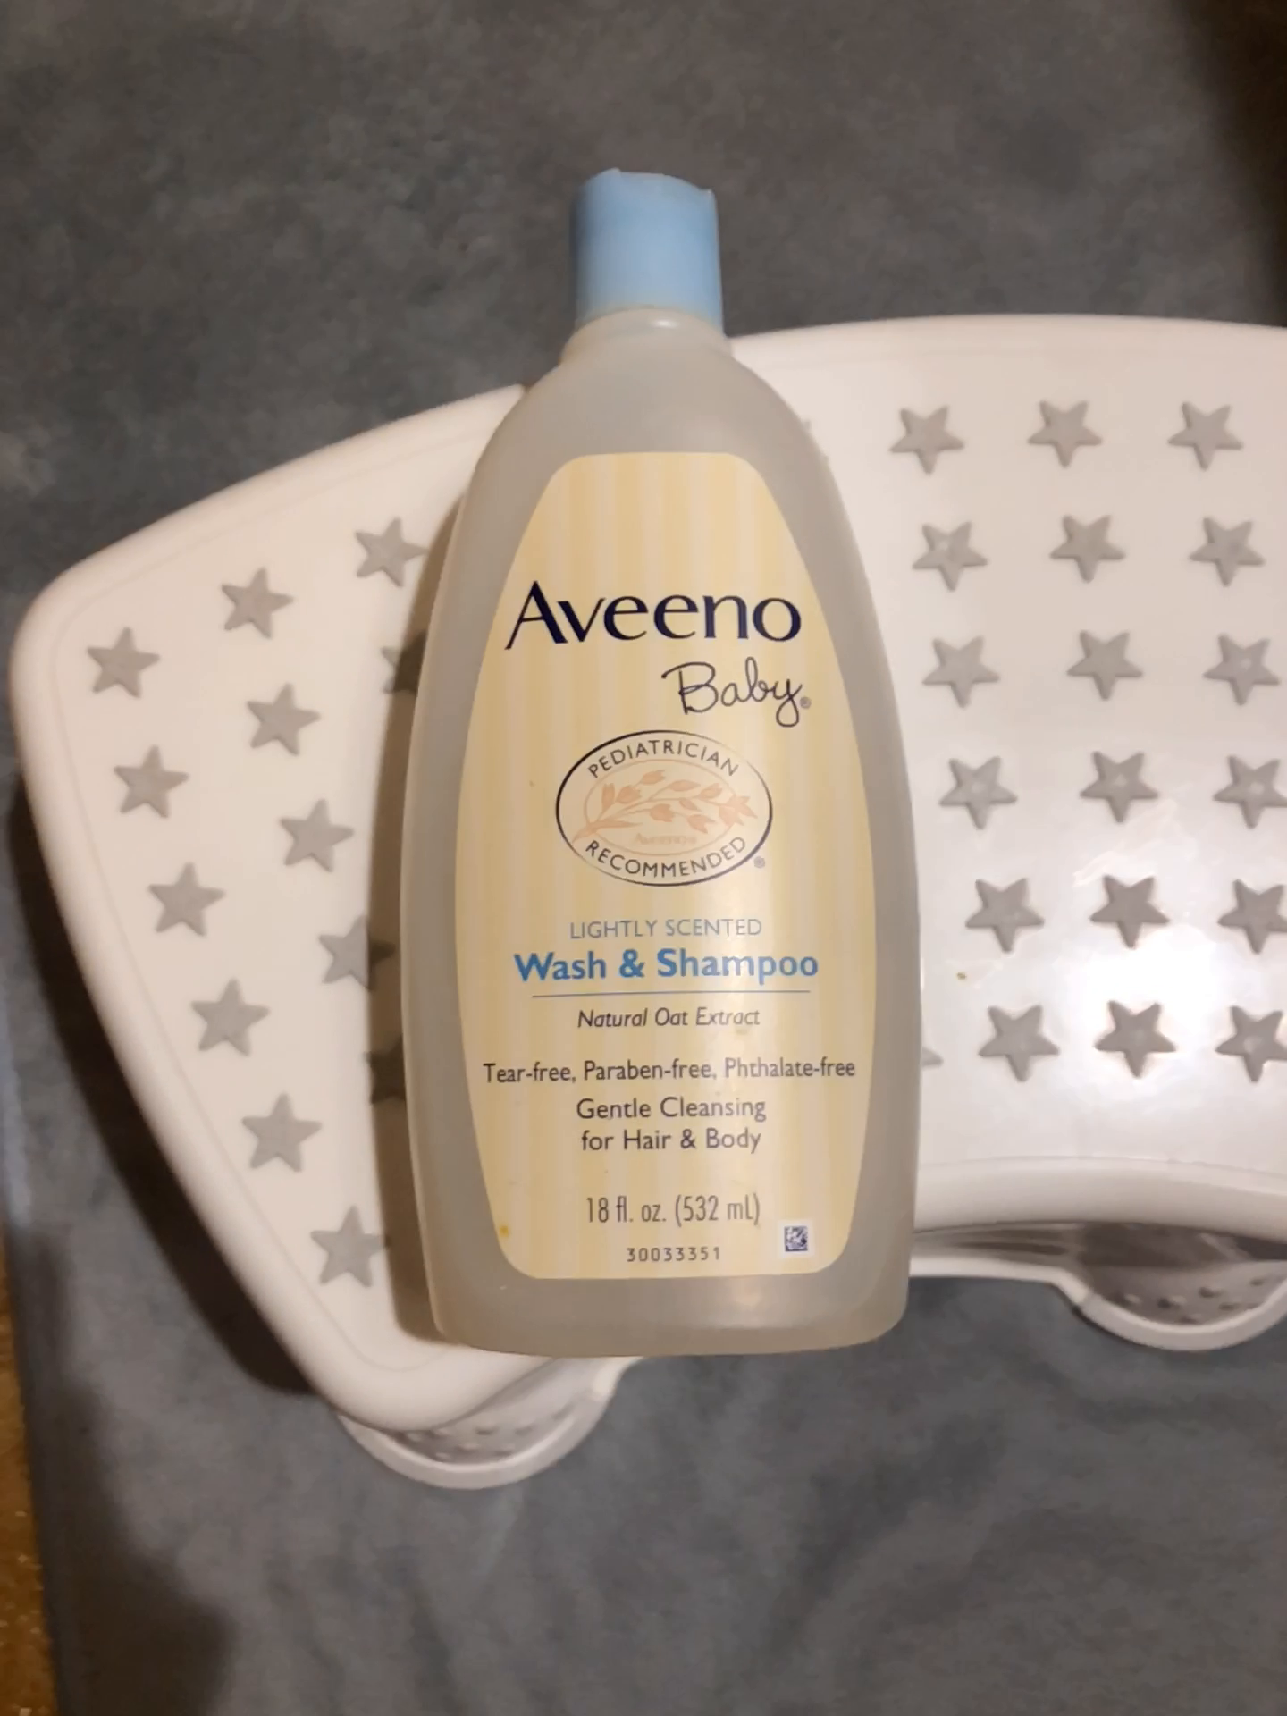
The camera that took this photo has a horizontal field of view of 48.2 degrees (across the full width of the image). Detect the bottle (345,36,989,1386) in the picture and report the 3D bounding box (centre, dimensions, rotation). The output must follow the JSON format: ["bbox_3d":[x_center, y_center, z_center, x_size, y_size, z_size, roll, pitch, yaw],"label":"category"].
[{"bbox_3d":[0.003,-0.032,0.266,0.100,0.040,0.240,-1,79,1],"label":"bottle"}]
